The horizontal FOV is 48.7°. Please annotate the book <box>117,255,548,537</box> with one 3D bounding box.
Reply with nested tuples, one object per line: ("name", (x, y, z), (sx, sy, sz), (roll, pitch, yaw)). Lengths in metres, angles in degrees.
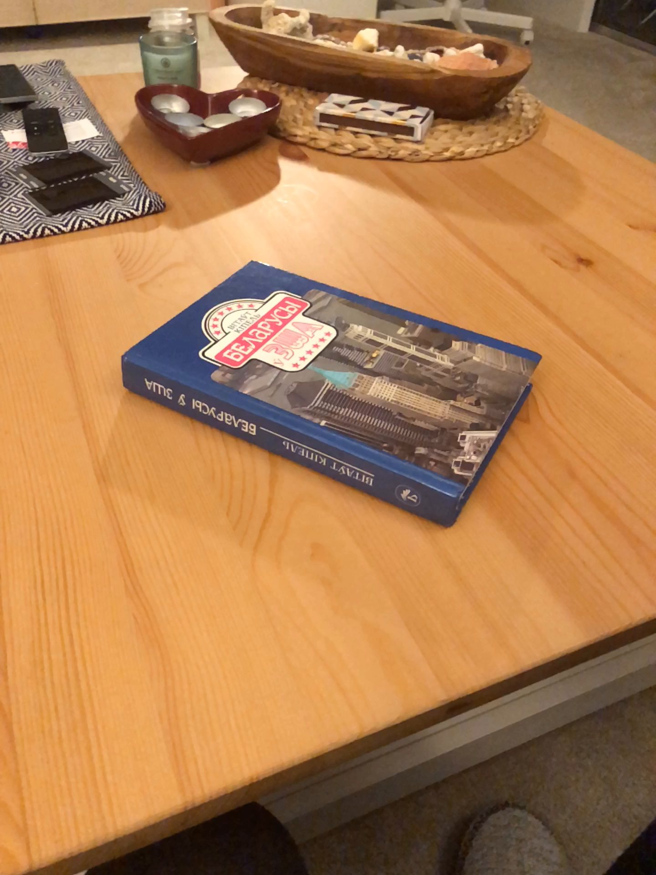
("book", (0.005, -0.041, 0.457), (0.224, 0.030, 0.147), (22, 45, 19))
